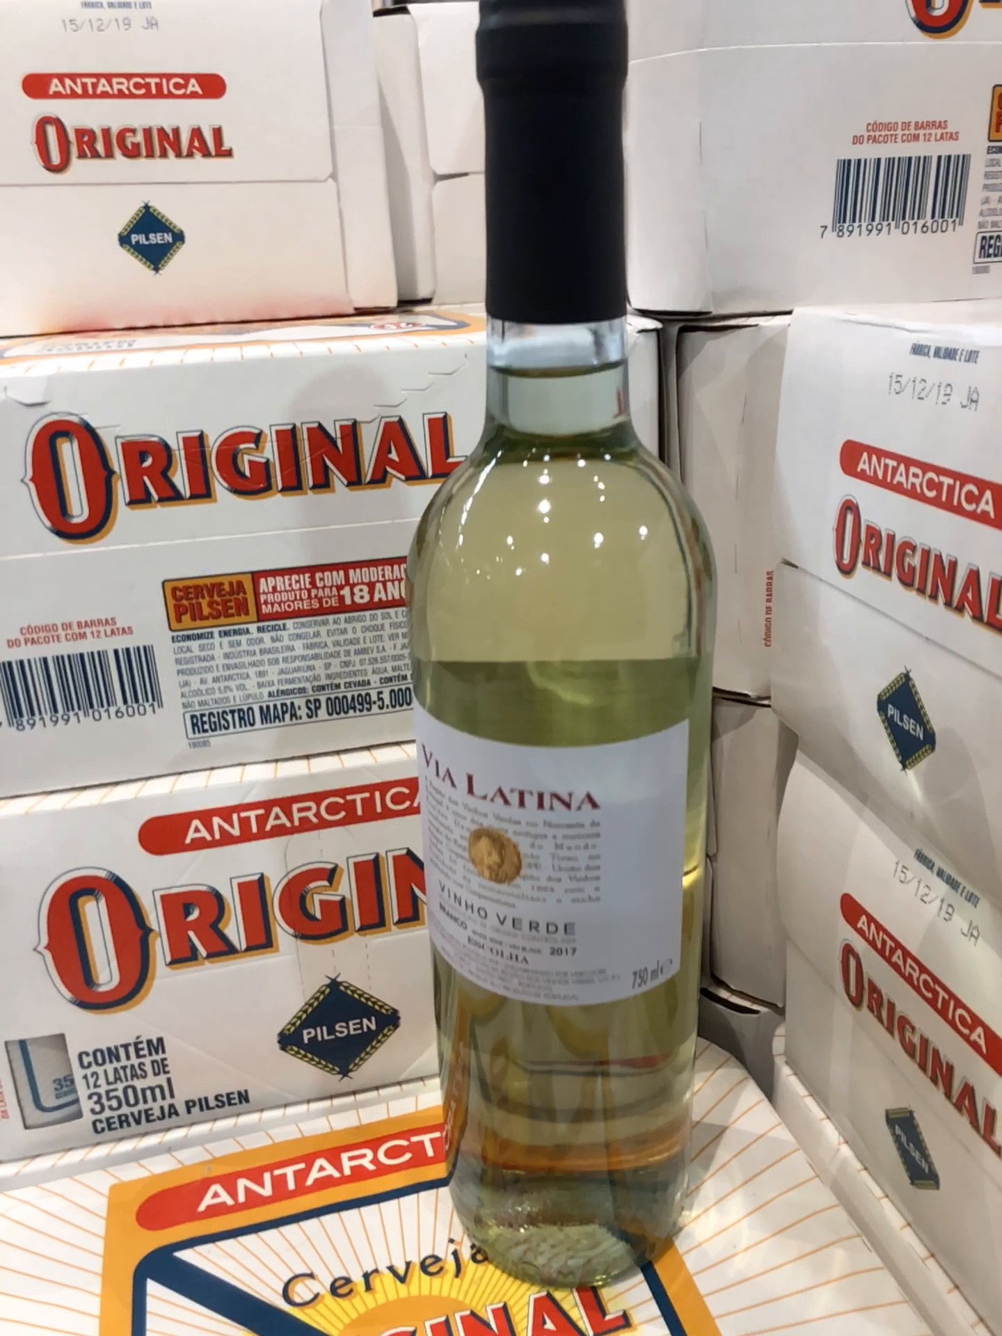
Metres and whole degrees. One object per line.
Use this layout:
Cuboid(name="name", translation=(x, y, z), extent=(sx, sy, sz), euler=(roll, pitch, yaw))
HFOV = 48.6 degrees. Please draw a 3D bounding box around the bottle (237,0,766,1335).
Cuboid(name="bottle", translation=(0.005, 0.012, 0.277), extent=(0.080, 0.308, 0.070), euler=(13, 25, 34))
